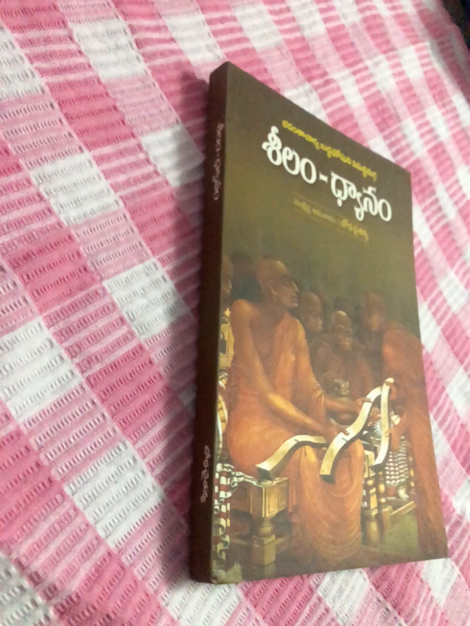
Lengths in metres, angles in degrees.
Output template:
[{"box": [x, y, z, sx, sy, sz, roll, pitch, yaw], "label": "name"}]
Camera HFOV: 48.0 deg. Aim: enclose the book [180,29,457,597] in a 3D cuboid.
[{"box": [0.046, 0.001, 0.237, 0.141, 0.020, 0.210, 16, 68, -38], "label": "book"}]
